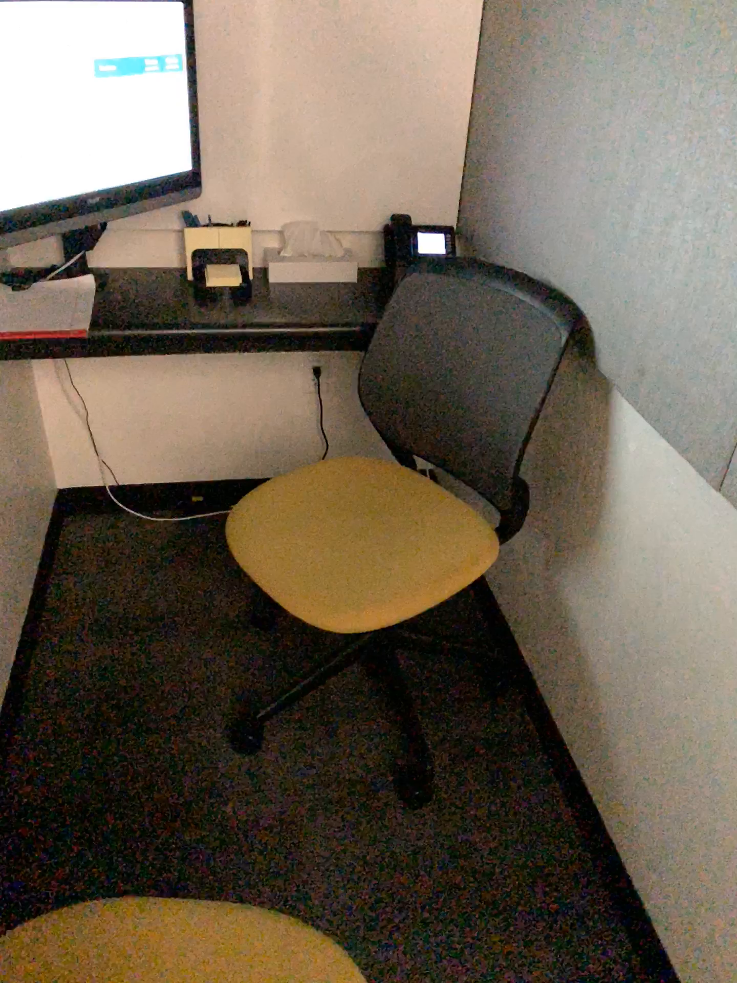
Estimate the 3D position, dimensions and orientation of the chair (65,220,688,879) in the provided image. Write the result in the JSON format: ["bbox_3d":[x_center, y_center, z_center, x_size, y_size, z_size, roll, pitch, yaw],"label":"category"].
[{"bbox_3d":[0.006,0.031,1.873,0.923,1.034,0.952,30,42,32],"label":"chair"}]

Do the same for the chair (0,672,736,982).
[{"bbox_3d":[-0.139,0.667,0.513,0.550,0.845,0.573,6,34,3],"label":"chair"}]
